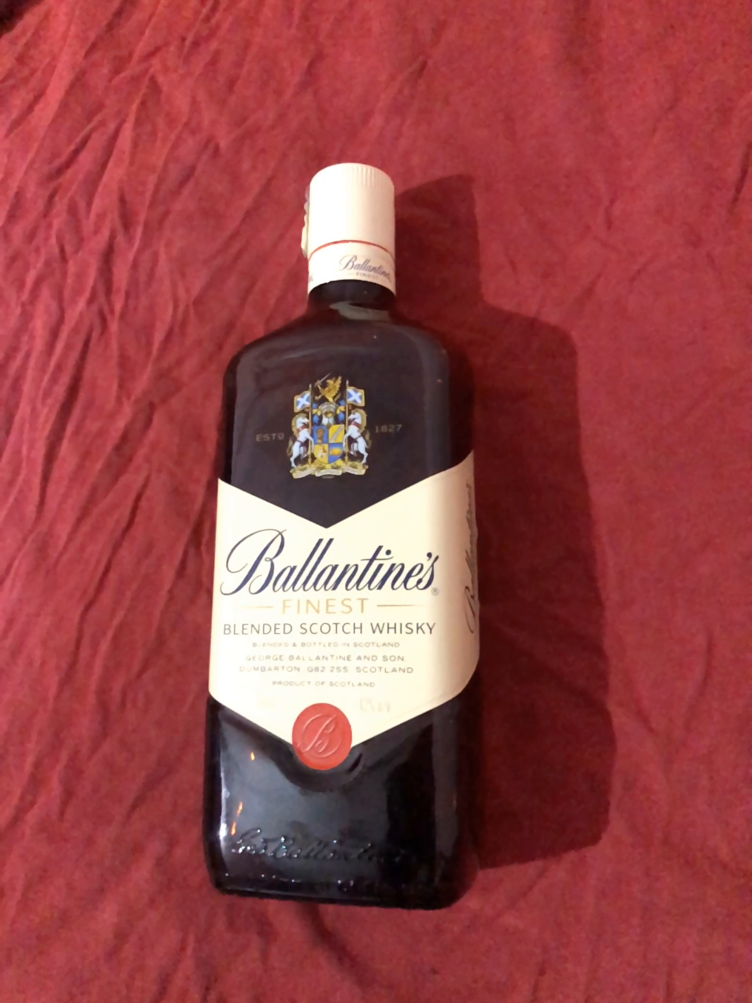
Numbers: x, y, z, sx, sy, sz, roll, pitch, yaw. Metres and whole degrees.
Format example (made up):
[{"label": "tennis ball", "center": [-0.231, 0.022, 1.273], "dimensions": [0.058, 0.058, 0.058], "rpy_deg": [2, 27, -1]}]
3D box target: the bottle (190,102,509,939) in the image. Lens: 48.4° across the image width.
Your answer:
[{"label": "bottle", "center": [-0.005, 0.001, 0.281], "dimensions": [0.090, 0.050, 0.250], "rpy_deg": [-2, 80, 11]}]
